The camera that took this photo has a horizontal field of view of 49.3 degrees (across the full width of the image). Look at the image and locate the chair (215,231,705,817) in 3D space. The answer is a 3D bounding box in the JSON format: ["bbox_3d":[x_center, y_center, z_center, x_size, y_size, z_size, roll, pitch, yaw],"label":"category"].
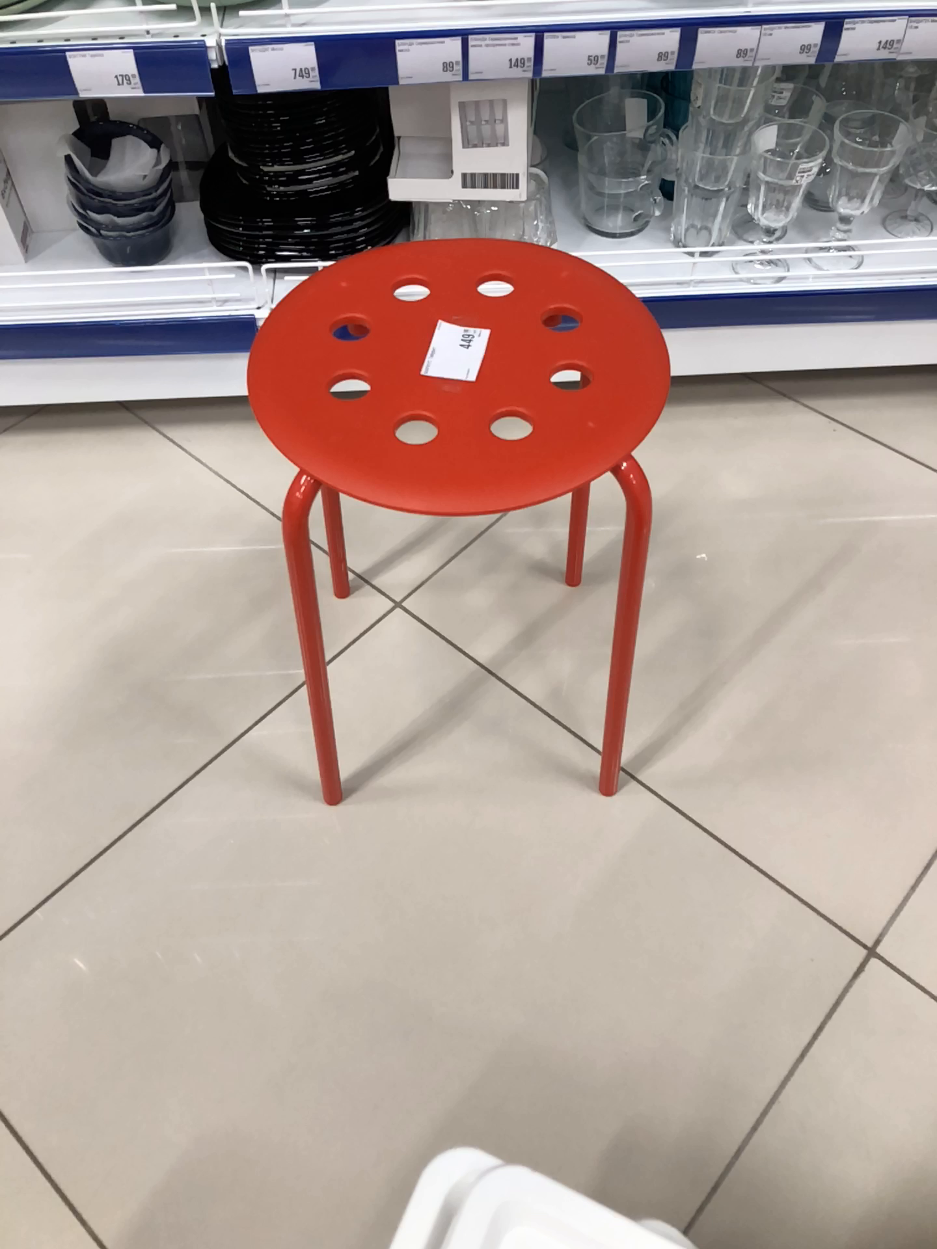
[{"bbox_3d":[-0.005,-0.072,0.911,0.313,0.405,0.322,-2,52,0],"label":"chair"}]
